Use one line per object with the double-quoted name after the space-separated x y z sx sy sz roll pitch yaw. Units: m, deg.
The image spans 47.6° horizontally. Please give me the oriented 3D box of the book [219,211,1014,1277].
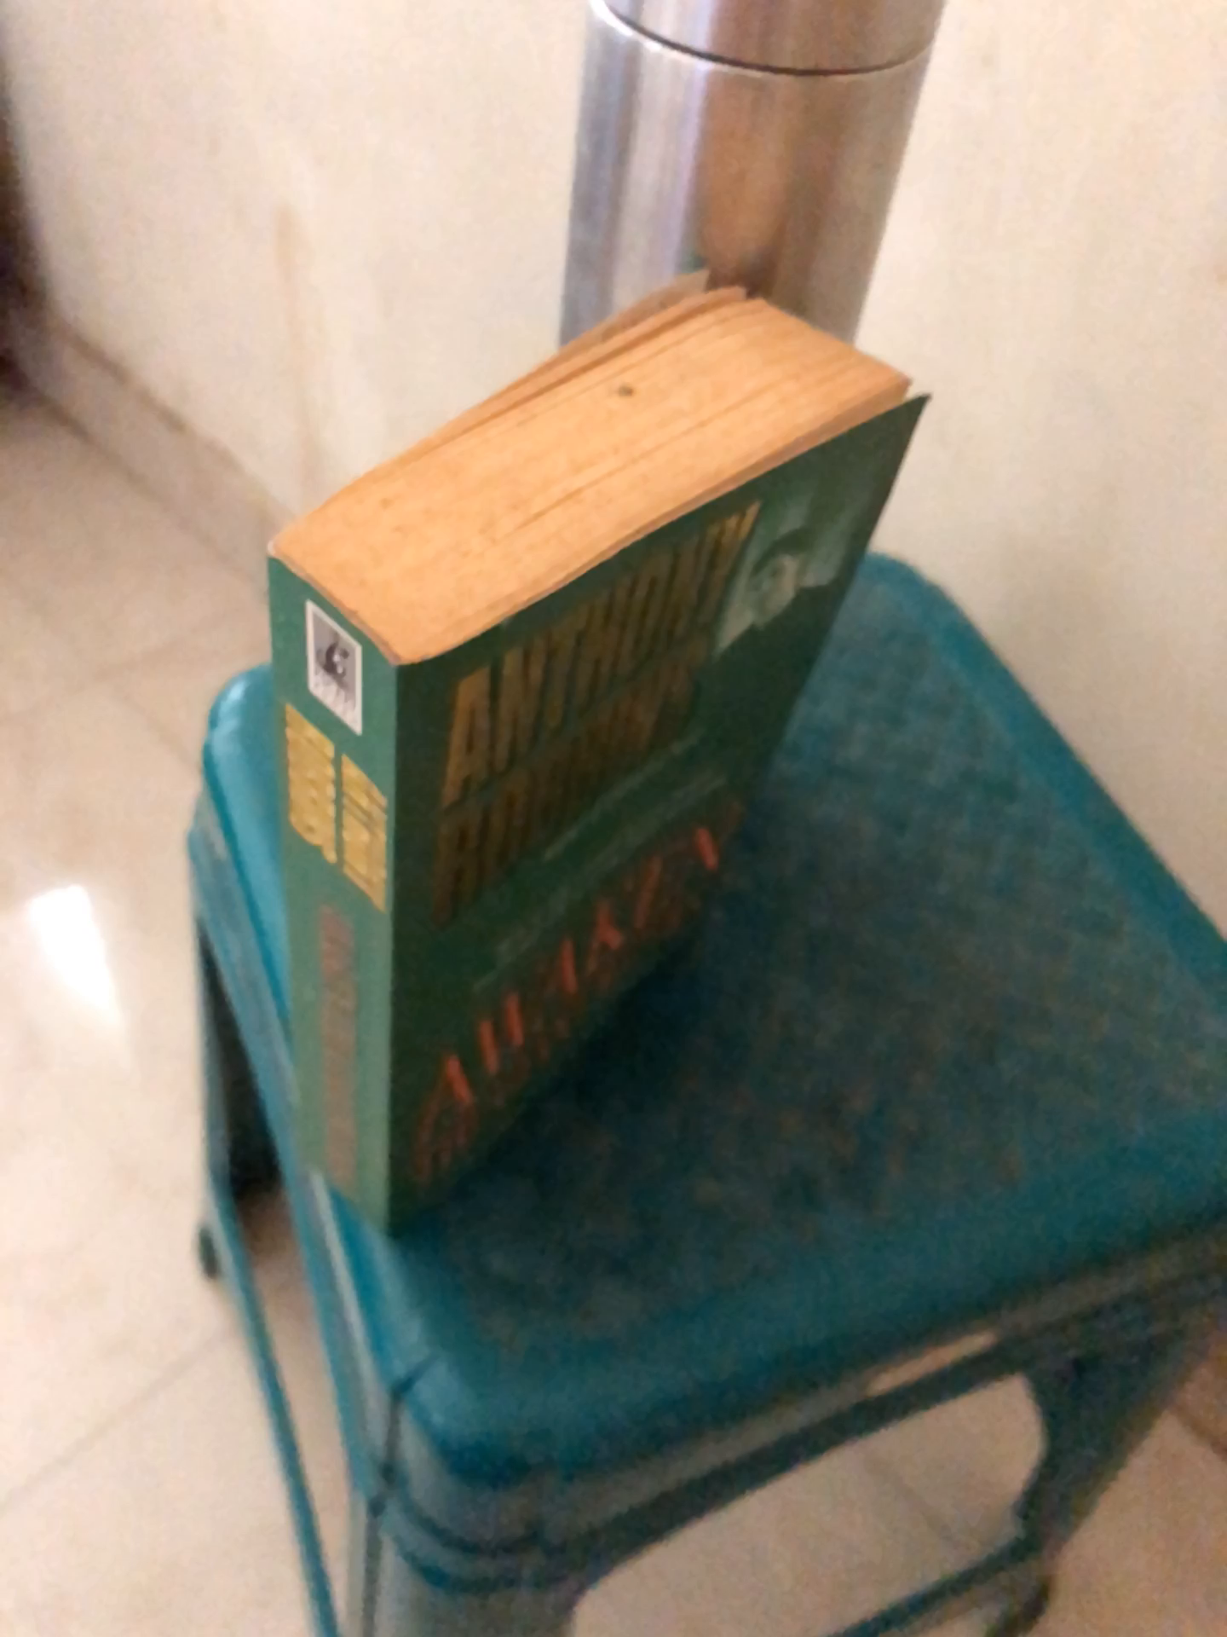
-0.002 -0.004 0.303 0.050 0.199 0.140 37 56 20 "book"
